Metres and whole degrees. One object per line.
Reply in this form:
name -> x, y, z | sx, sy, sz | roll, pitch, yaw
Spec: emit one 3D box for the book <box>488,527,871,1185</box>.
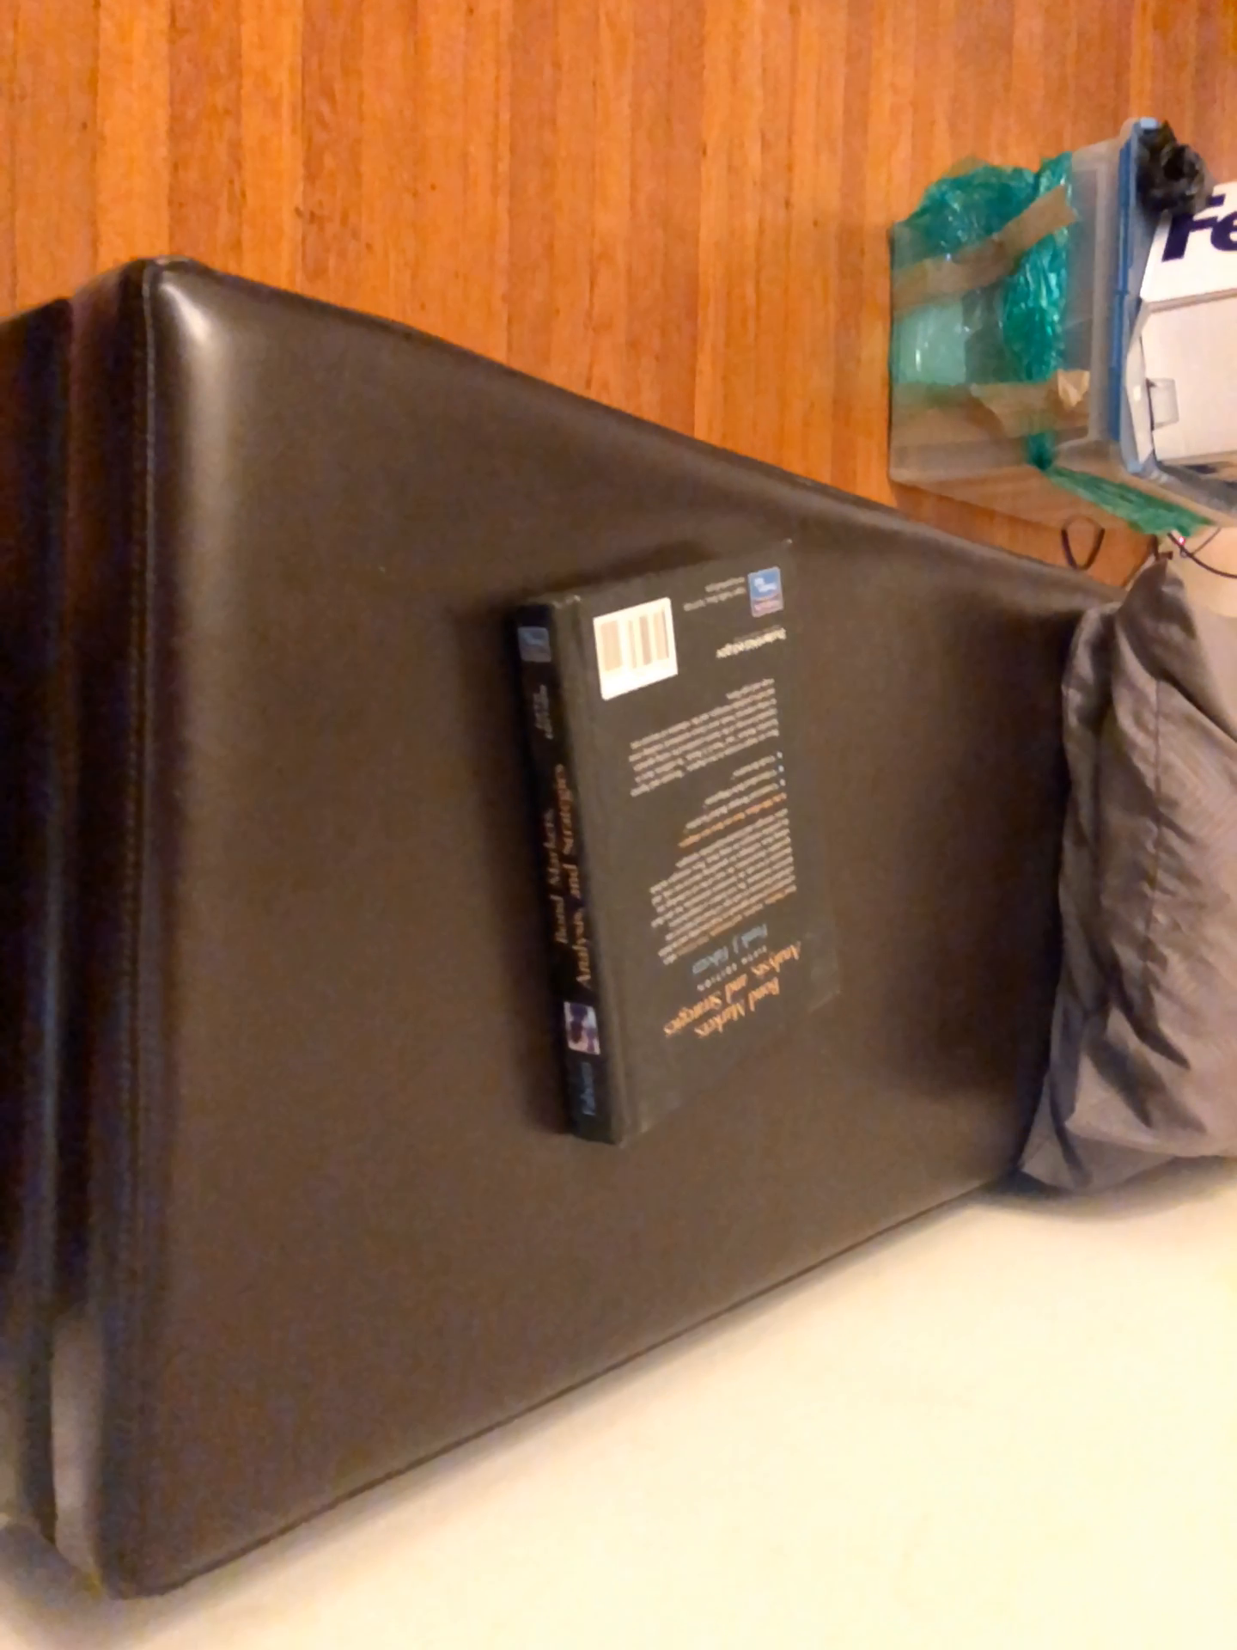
book -> 0.042, 0.003, 0.645 | 0.201, 0.040, 0.260 | -24, 111, -47
